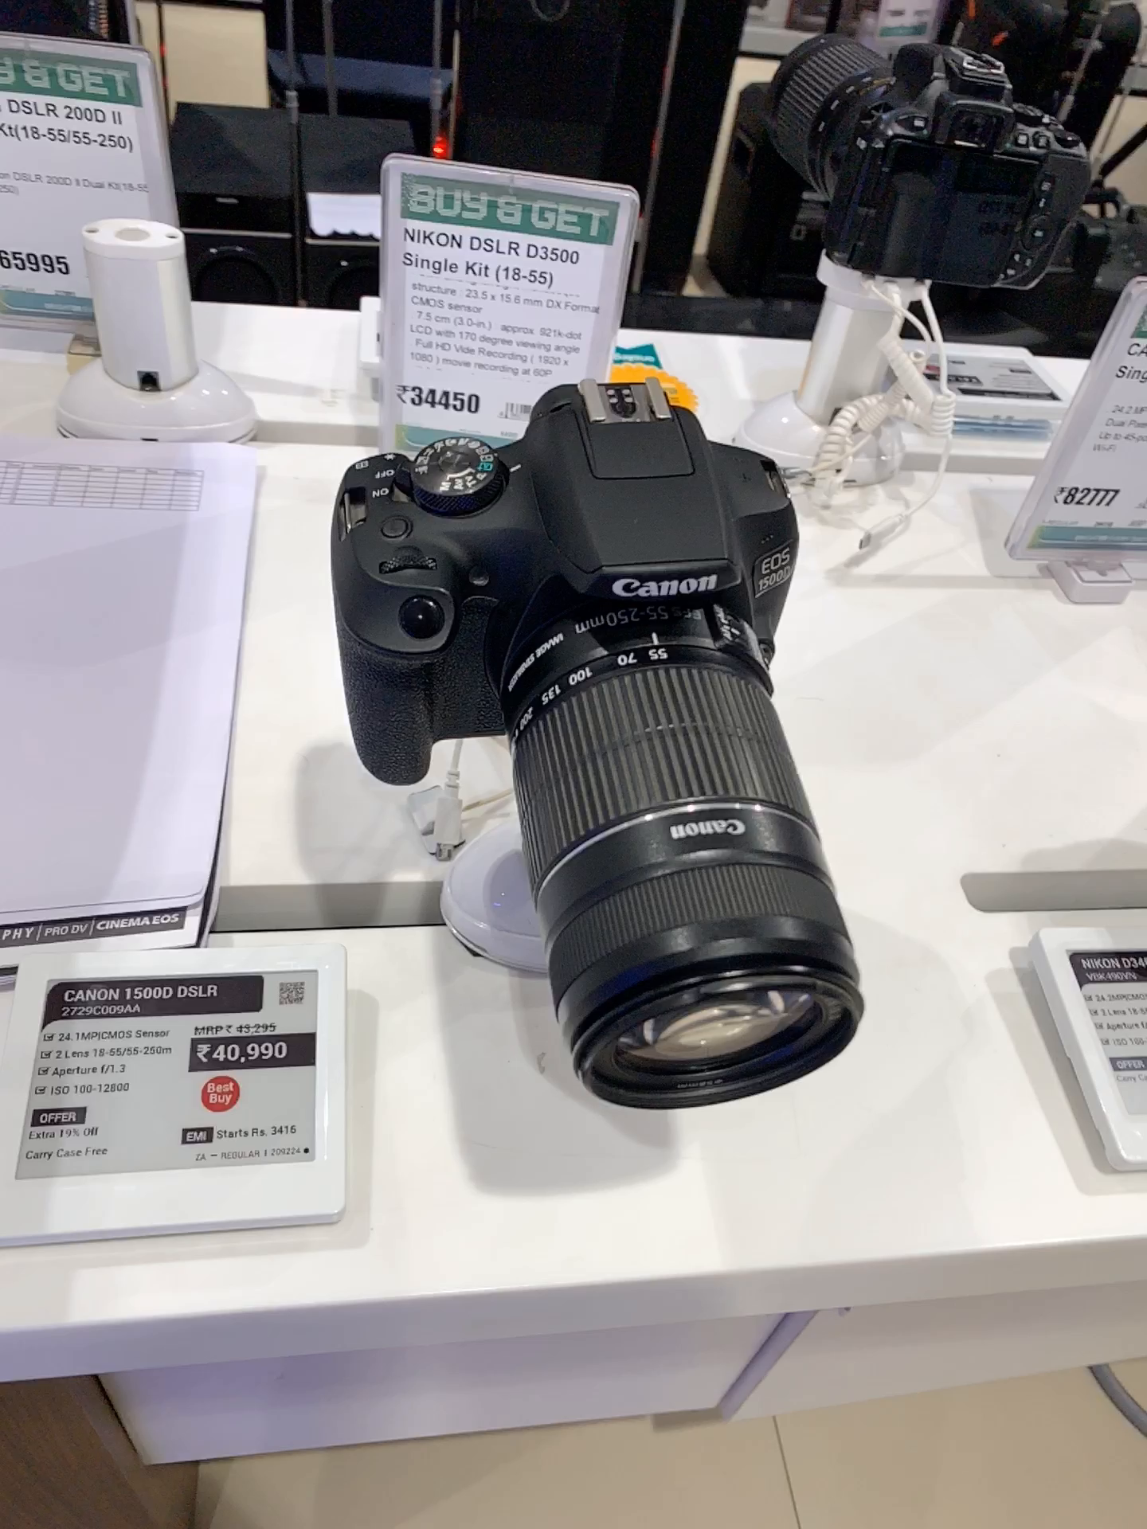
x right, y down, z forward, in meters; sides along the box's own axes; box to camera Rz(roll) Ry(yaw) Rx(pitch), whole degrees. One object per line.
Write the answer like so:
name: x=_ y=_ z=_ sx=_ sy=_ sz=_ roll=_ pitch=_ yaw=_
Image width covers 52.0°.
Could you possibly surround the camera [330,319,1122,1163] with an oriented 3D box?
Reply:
camera: x=0.012 y=-0.020 z=0.291 sx=0.130 sy=0.090 sz=0.191 roll=-3 pitch=48 yaw=-12
